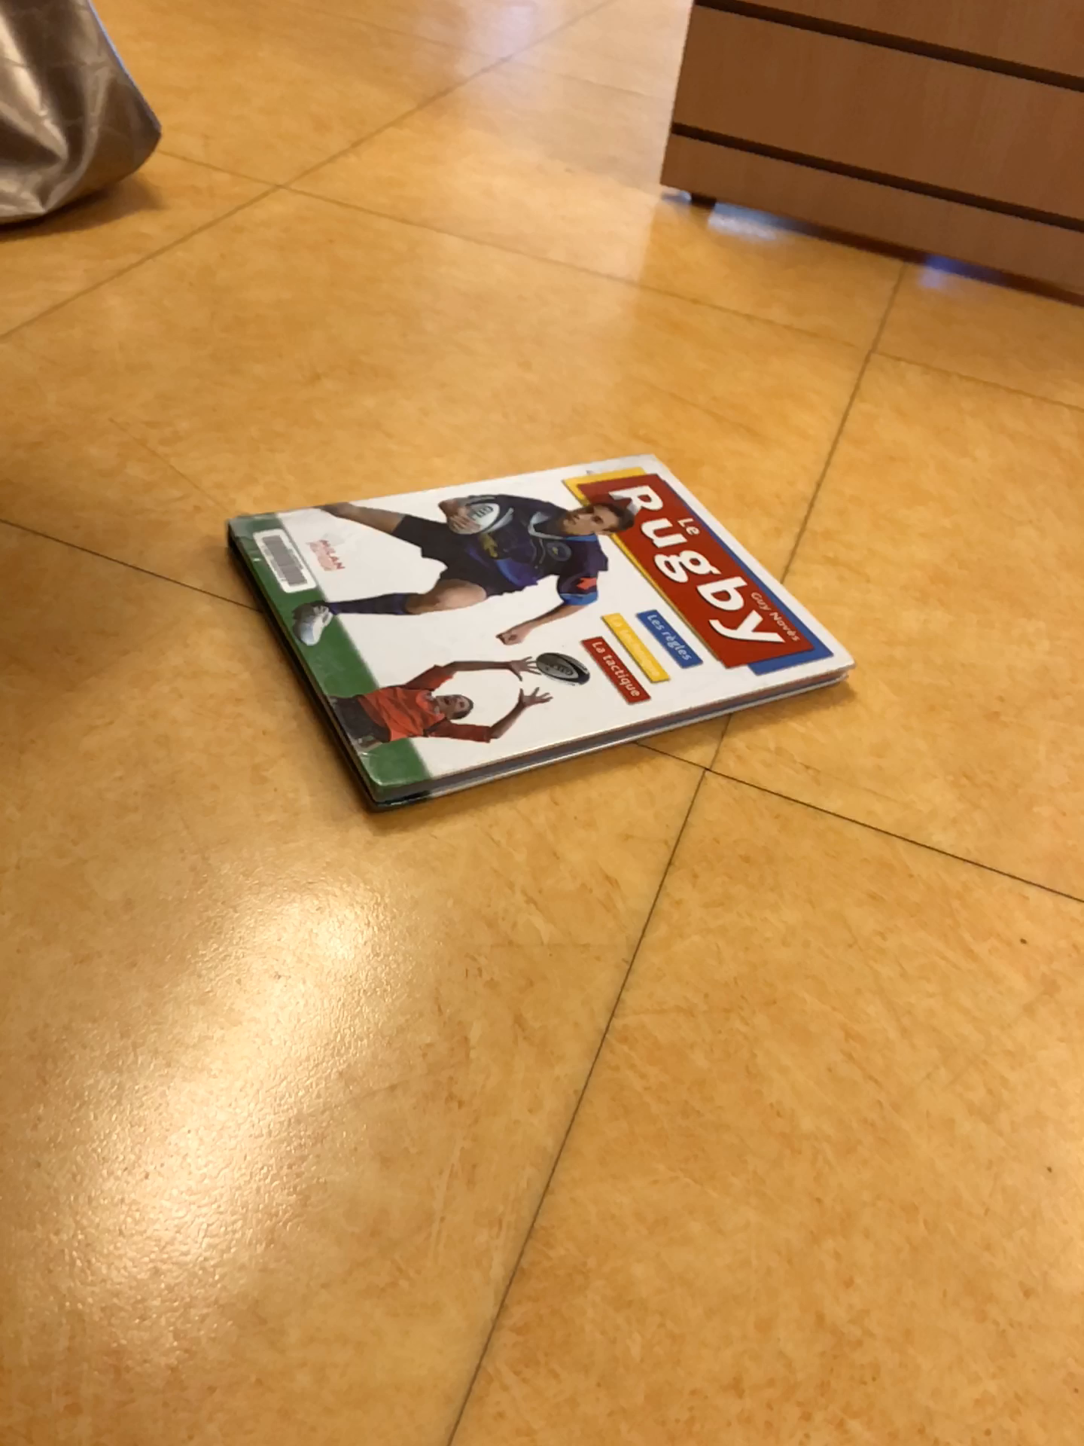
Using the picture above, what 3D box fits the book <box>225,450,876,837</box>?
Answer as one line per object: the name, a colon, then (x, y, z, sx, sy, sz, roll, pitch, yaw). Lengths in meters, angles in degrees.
book: (0.001, -0.058, 0.596, 0.261, 0.024, 0.203, -14, 48, -25)
